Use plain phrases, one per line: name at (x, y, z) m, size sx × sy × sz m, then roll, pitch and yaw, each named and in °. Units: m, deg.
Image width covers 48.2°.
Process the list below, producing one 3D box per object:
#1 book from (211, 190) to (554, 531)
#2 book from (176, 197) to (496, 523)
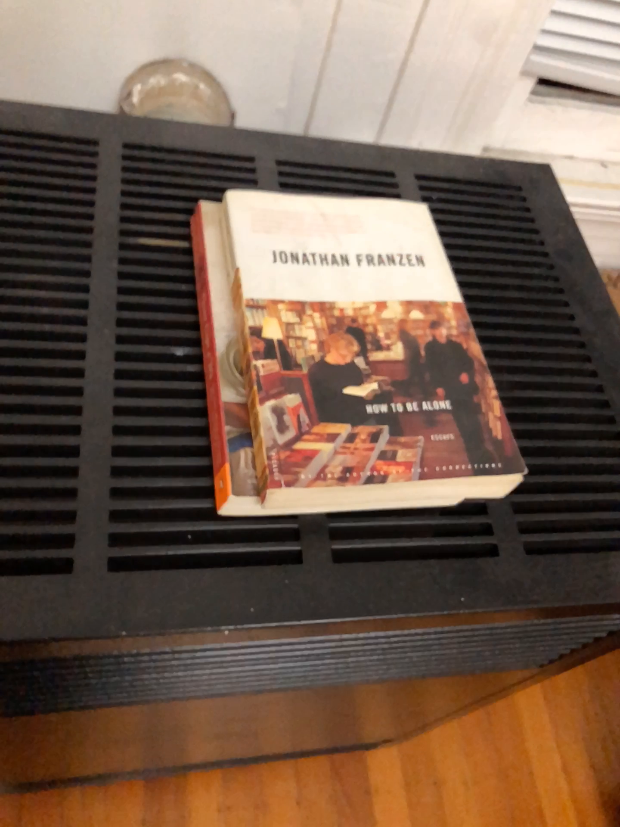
book at (0.031, -0.042, 0.400) m, size 0.150 × 0.030 × 0.211 m, roll -2°, pitch 57°, yaw -16°
book at (0.005, -0.043, 0.416) m, size 0.150 × 0.030 × 0.211 m, roll -2°, pitch 57°, yaw -16°
